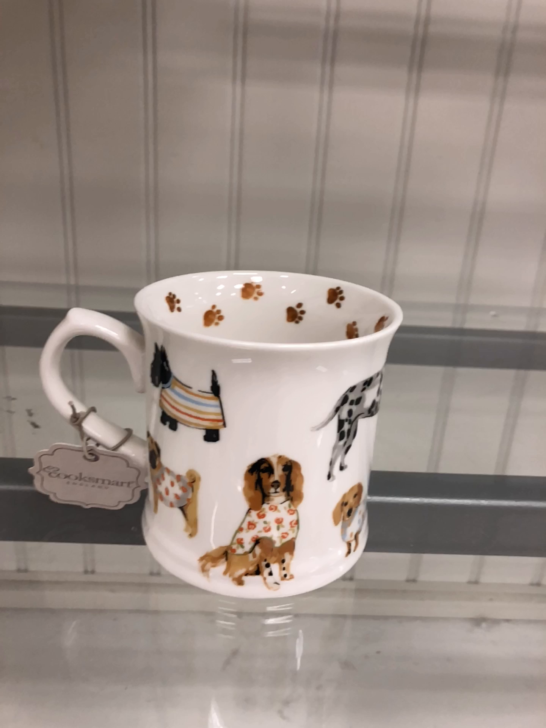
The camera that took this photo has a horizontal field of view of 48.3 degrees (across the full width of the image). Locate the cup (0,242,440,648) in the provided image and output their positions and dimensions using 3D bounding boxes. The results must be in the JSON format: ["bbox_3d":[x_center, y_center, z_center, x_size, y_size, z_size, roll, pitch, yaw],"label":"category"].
[{"bbox_3d":[-0.016,0.016,0.216,0.125,0.089,0.101,7,21,8],"label":"cup"}]
